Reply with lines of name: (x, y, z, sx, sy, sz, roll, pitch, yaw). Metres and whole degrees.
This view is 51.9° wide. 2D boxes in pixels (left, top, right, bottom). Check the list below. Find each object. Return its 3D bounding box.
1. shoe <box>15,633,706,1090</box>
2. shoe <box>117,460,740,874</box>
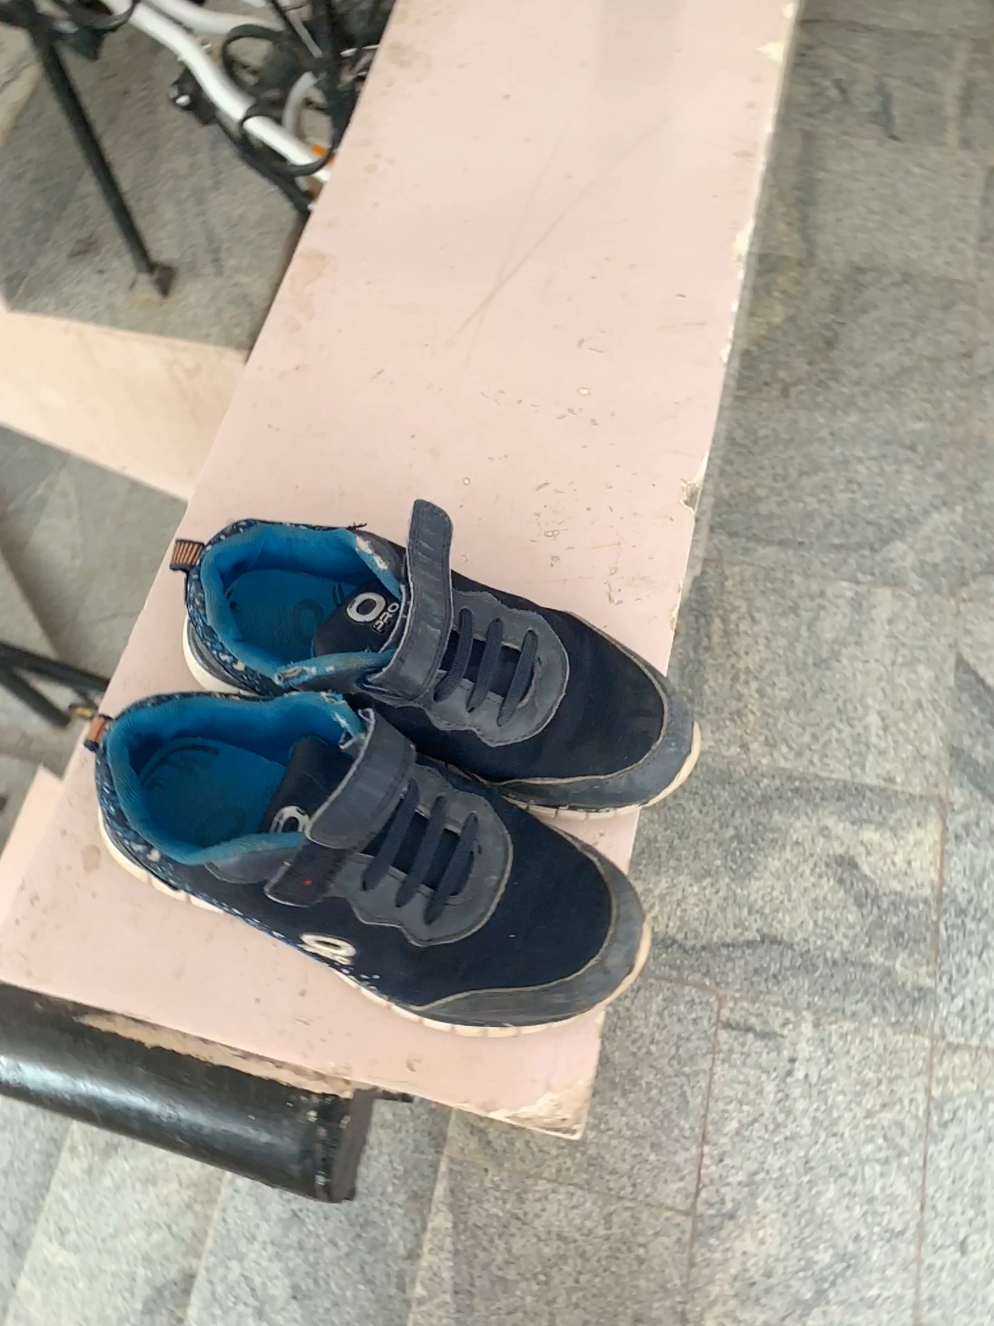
shoe: (-0.046, 0.075, 0.386, 0.220, 0.080, 0.090, 17, 68, 10)
shoe: (-0.024, 0.002, 0.429, 0.220, 0.080, 0.100, 14, 68, 9)
